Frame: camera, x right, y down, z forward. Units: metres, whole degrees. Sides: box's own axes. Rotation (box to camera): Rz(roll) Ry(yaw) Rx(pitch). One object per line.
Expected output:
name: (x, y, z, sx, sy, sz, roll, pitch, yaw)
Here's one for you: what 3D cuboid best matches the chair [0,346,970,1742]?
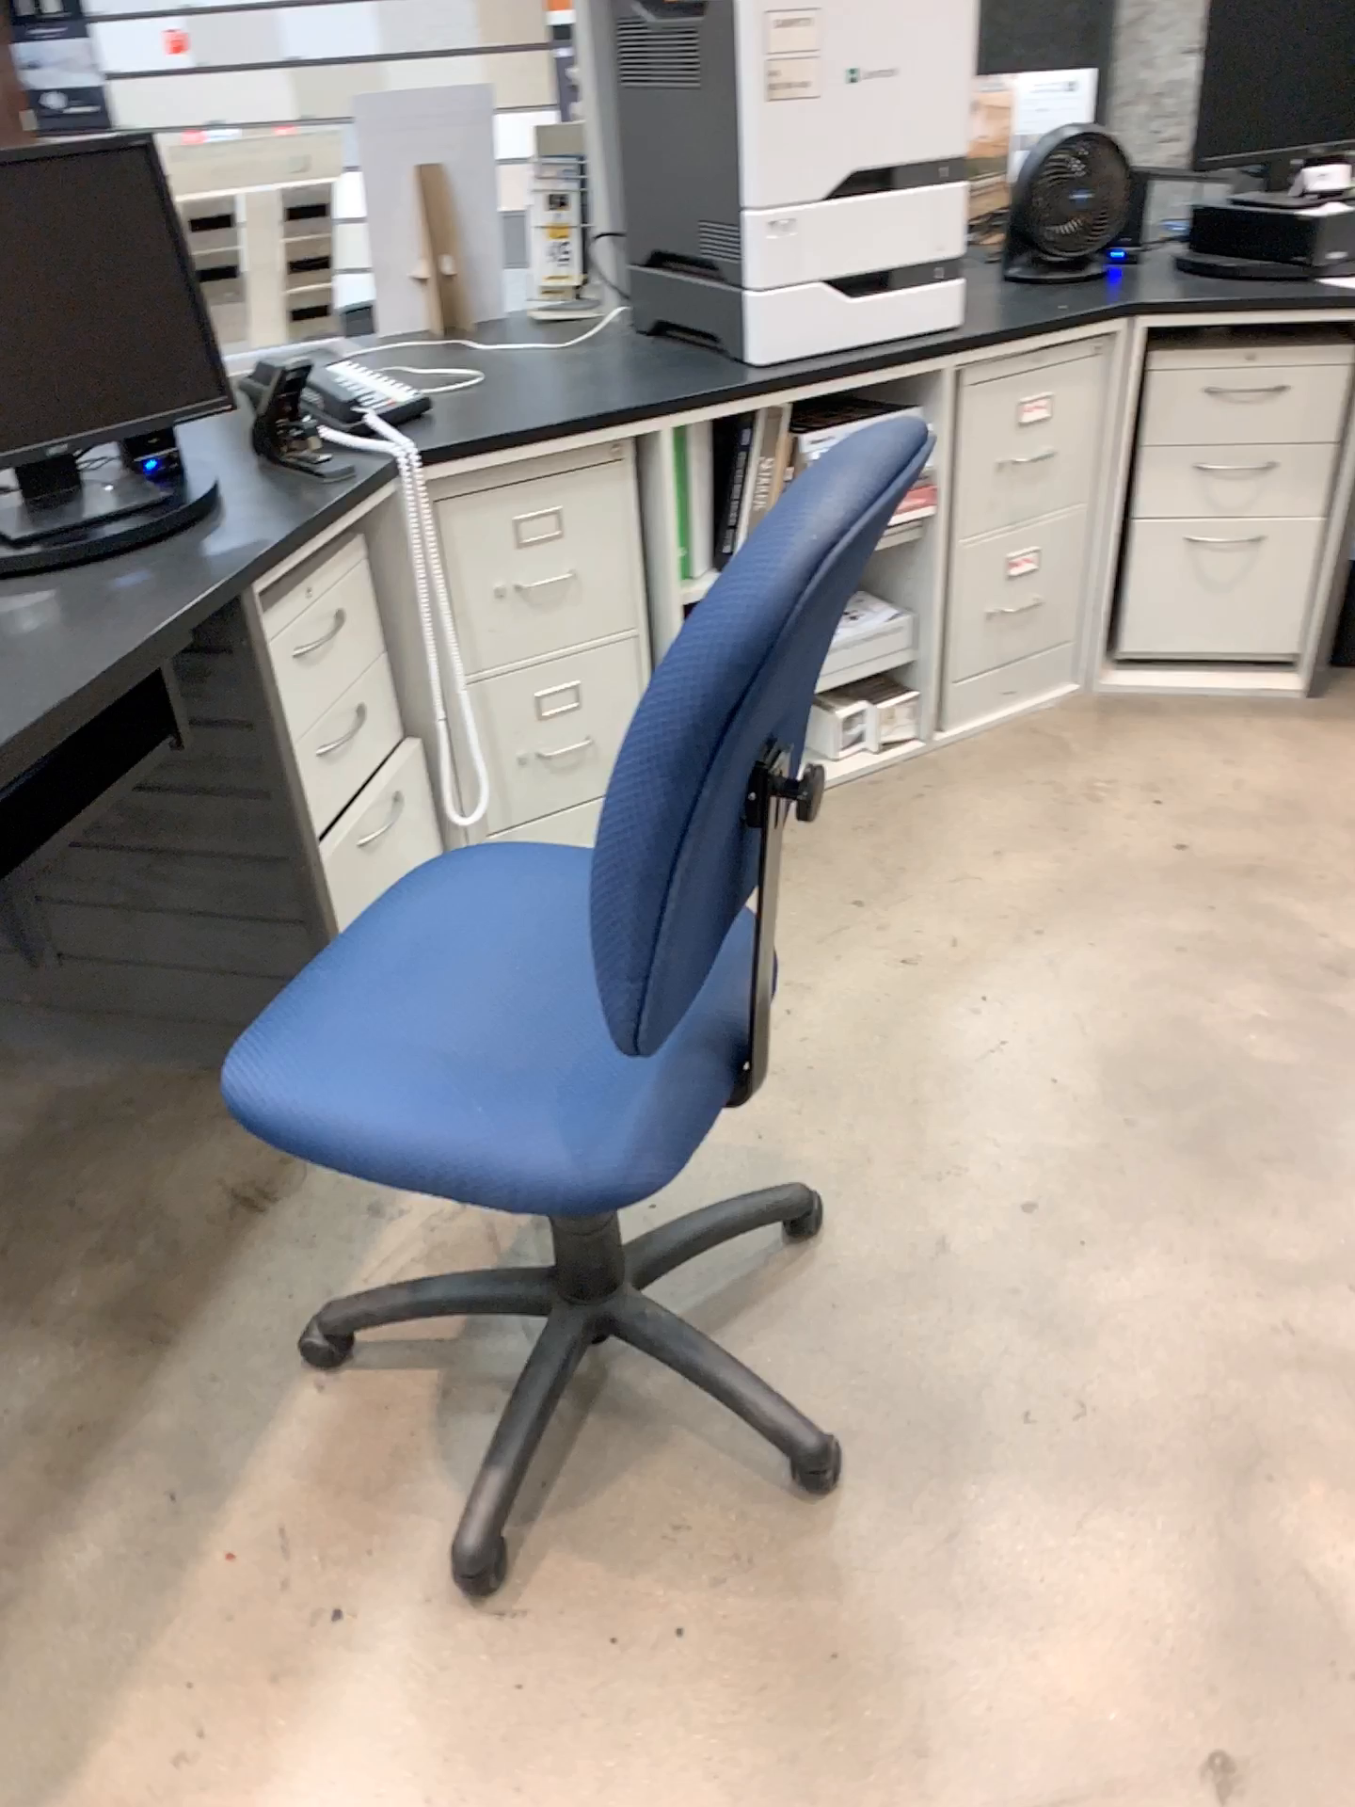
chair: (-0.156, 0.086, 1.312, 0.693, 1.036, 0.661, 9, 34, 19)
